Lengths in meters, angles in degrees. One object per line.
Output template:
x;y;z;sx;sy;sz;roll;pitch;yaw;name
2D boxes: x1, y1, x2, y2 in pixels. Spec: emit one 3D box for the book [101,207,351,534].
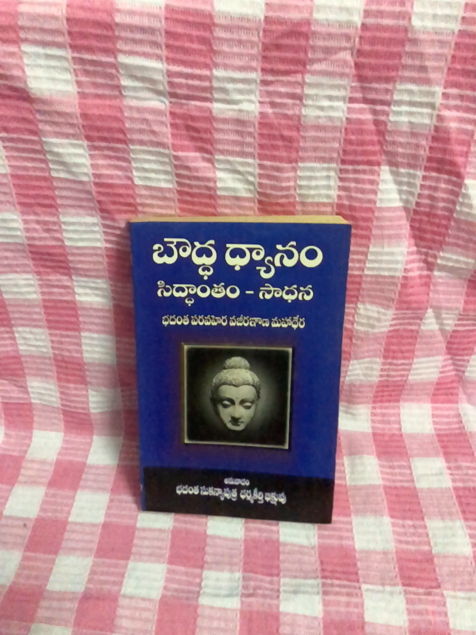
-0.009;0.040;0.376;0.160;0.229;0.030;2;15;6;book
